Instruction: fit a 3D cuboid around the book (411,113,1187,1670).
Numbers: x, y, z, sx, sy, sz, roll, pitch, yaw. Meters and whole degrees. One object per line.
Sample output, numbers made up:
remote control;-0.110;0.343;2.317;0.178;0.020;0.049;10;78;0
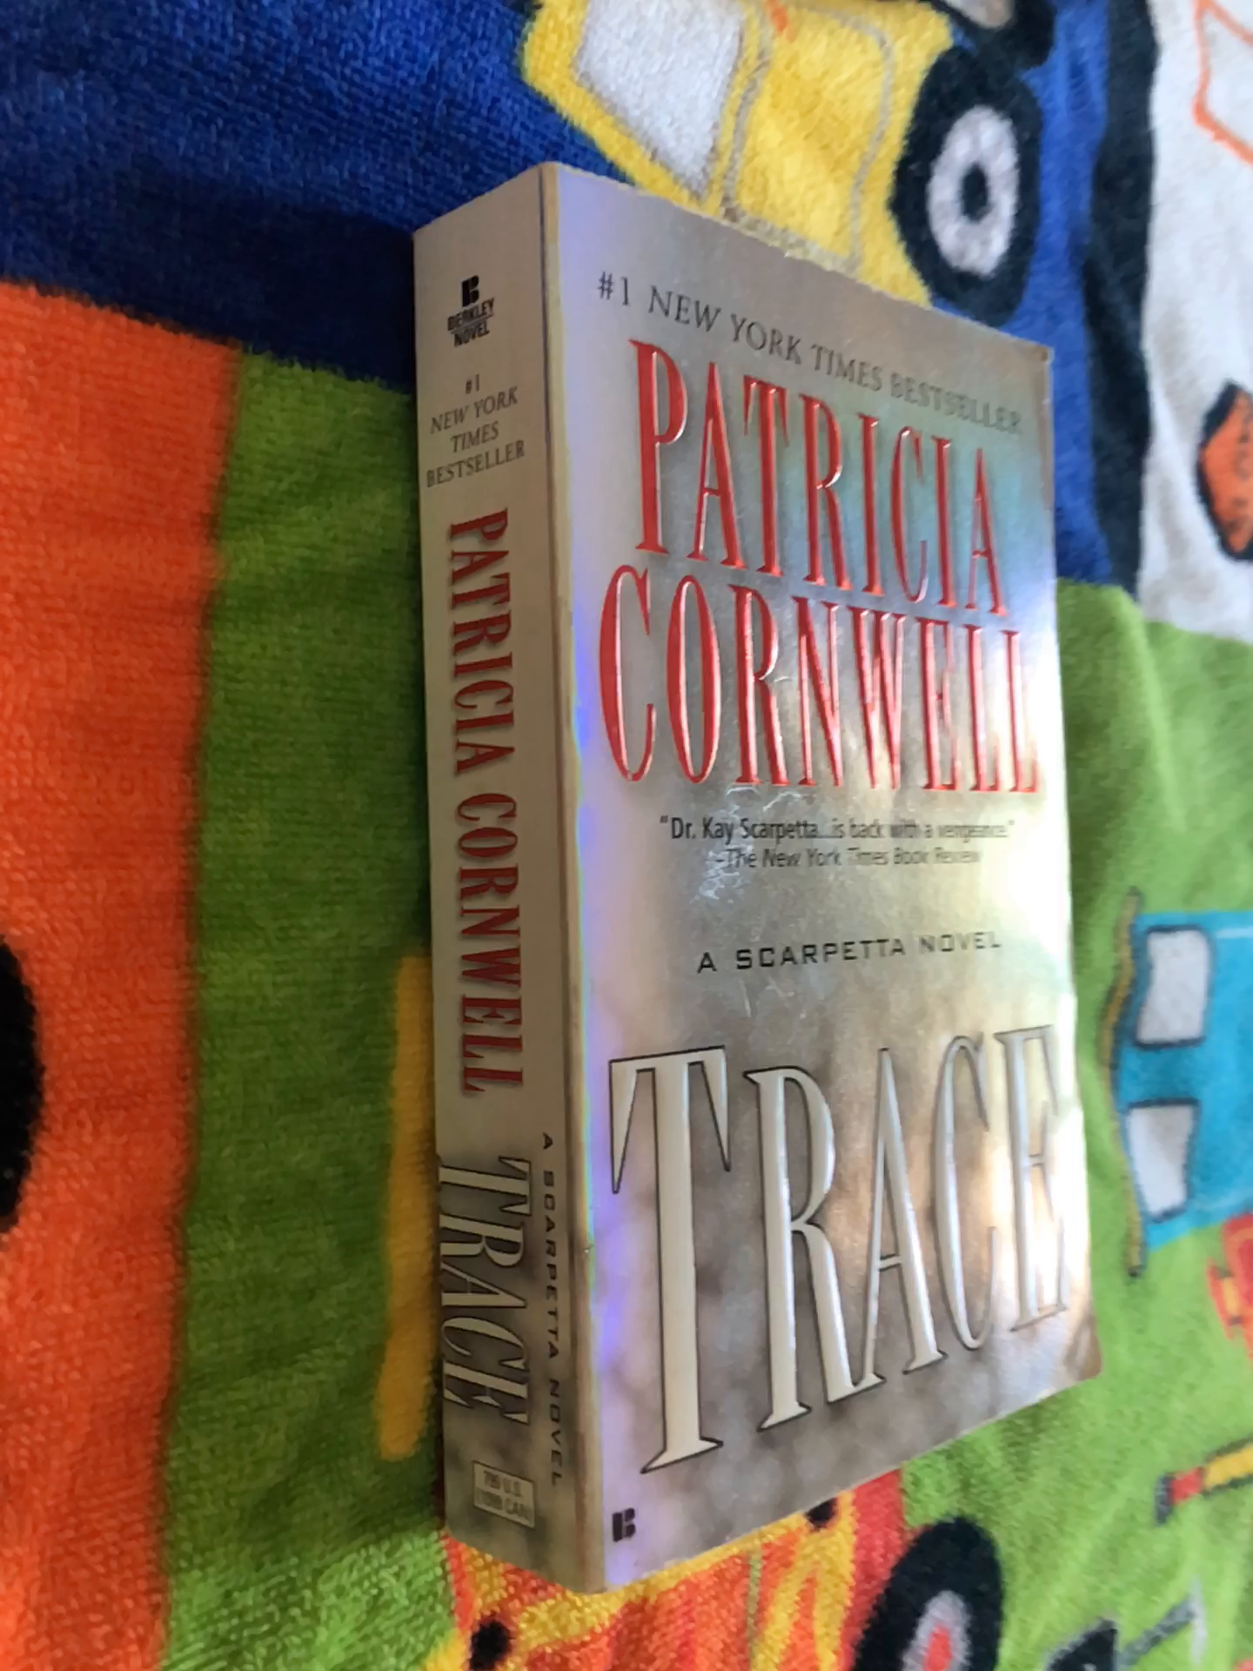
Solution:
book;0.031;0.006;0.214;0.121;0.040;0.180;1;85;-40
